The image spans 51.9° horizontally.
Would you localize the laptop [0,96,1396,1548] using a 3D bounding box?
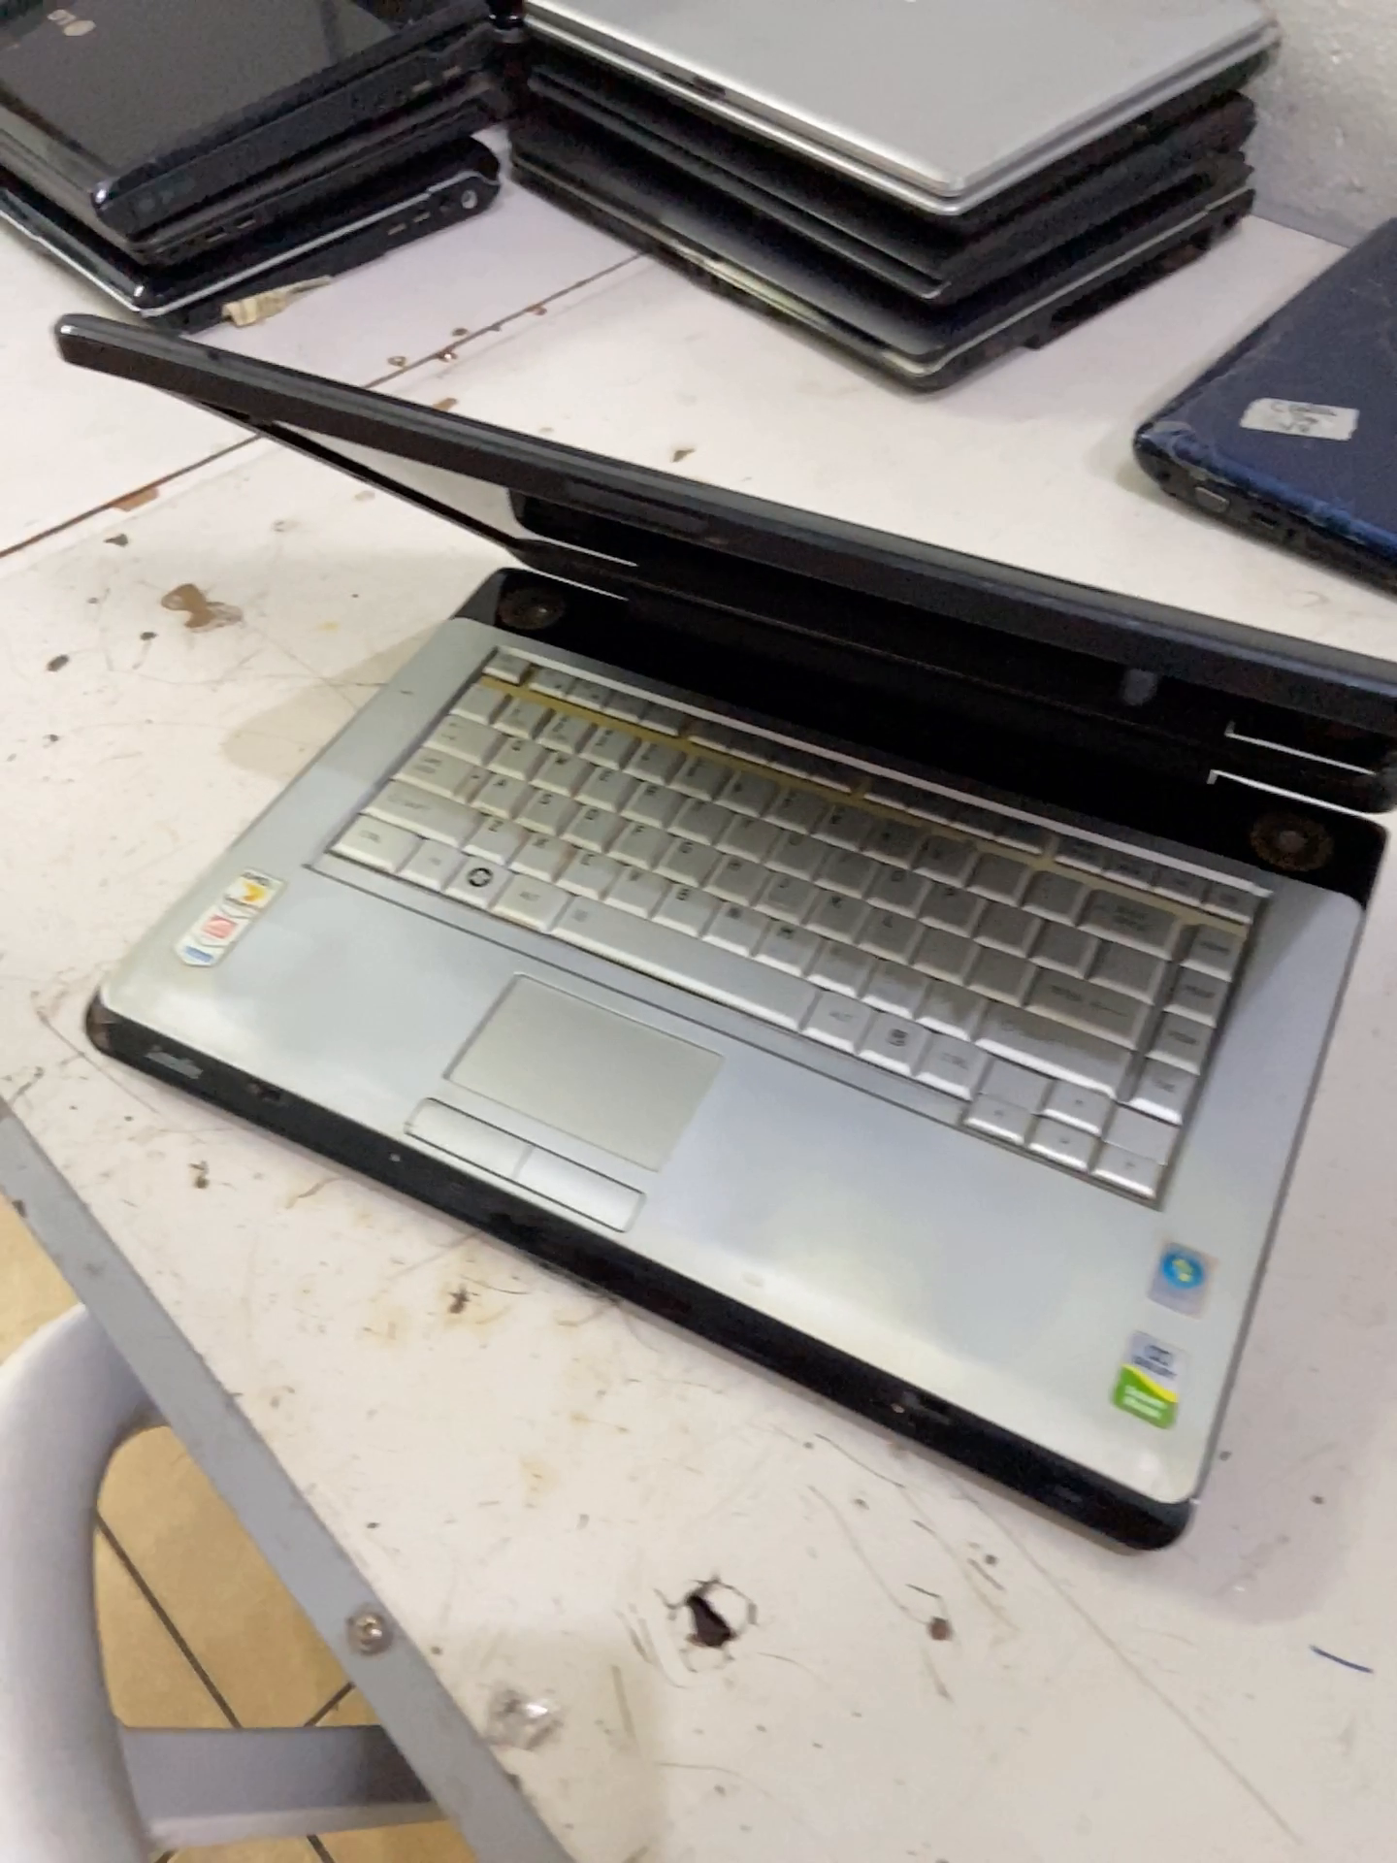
[{"bbox_3d":[0.013,-0.059,0.405,0.356,0.185,0.257,20,56,19],"label":"laptop"}]
